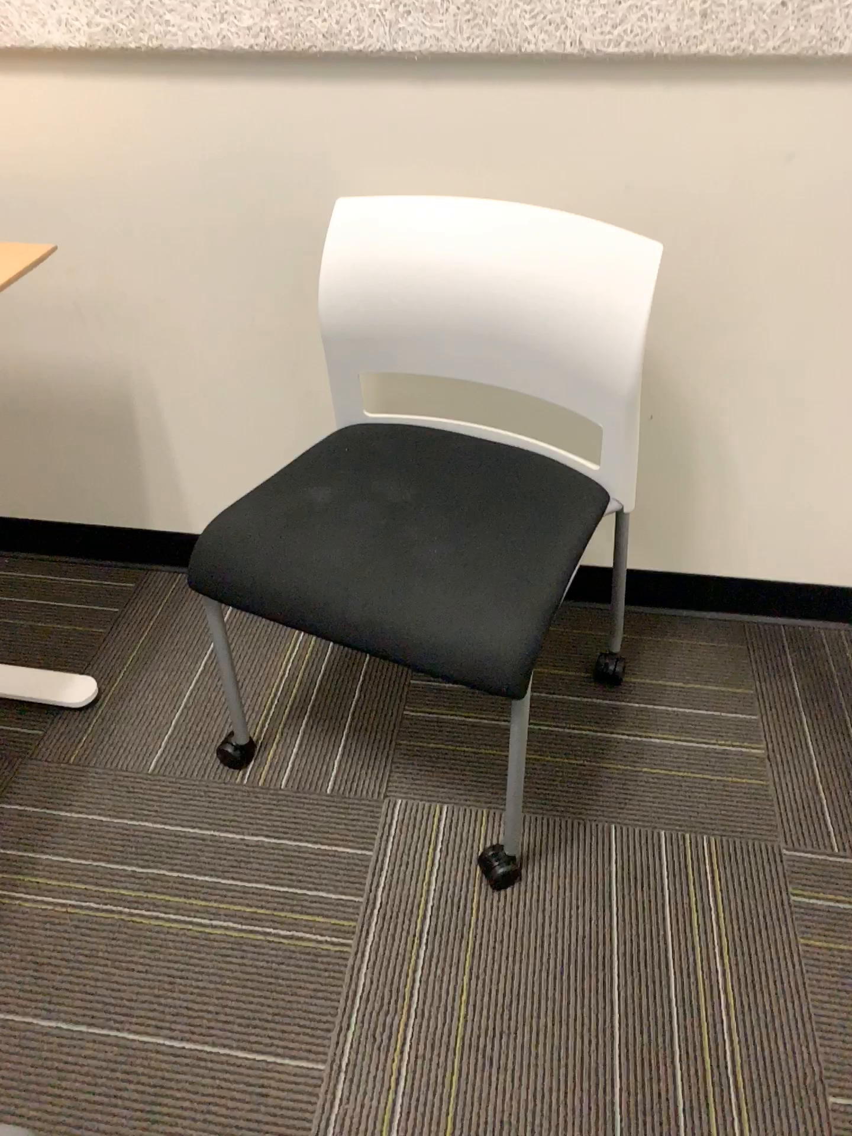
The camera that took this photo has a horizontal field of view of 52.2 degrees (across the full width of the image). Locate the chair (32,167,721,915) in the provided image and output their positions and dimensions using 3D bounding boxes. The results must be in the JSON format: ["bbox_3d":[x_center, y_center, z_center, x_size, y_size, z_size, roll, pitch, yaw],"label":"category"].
[{"bbox_3d":[-0.014,-0.061,1.205,0.581,0.736,0.542,16,43,21],"label":"chair"}]
